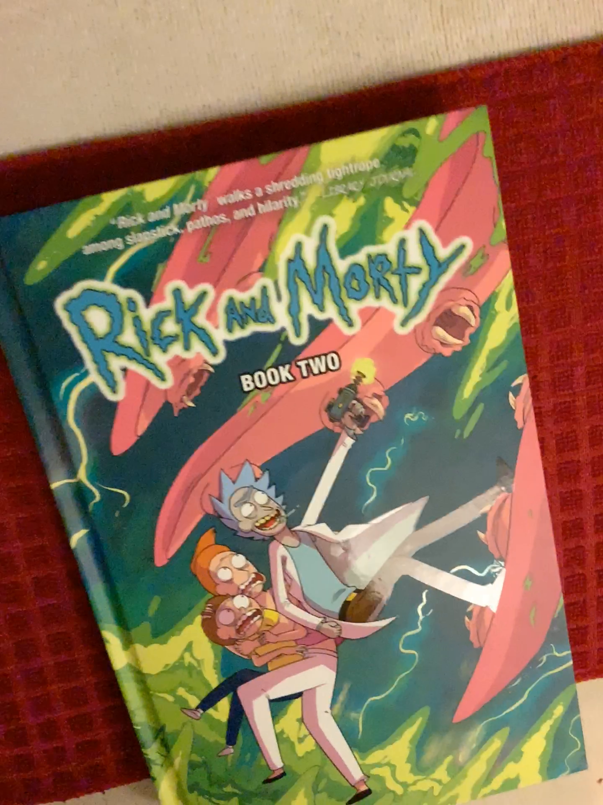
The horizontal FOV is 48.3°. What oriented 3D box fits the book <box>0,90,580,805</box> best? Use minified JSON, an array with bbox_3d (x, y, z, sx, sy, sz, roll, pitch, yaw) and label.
[{"bbox_3d":[0.000,0.047,0.295,0.200,0.030,0.300,-14,103,-2],"label":"book"}]
